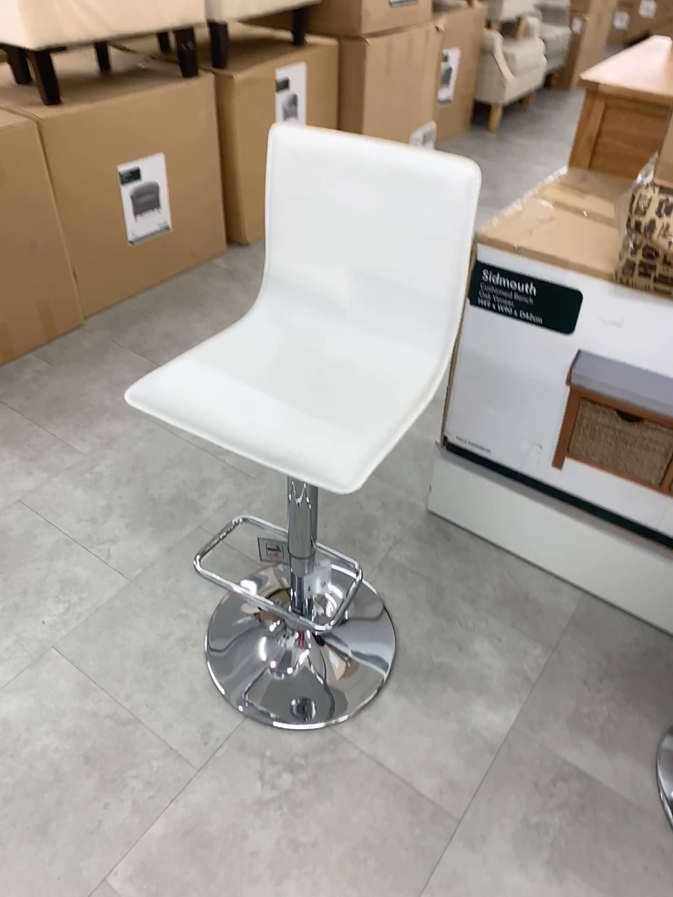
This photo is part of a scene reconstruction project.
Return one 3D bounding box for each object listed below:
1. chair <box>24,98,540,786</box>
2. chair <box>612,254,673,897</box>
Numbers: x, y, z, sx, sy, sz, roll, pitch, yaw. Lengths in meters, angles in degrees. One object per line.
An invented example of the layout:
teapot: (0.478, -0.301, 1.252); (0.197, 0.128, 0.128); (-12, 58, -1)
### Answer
chair: (-0.059, 0.033, 1.153); (0.460, 0.989, 0.445); (22, 44, 22)
chair: (0.806, 0.306, 0.924); (0.470, 0.910, 0.445); (25, 45, 24)
